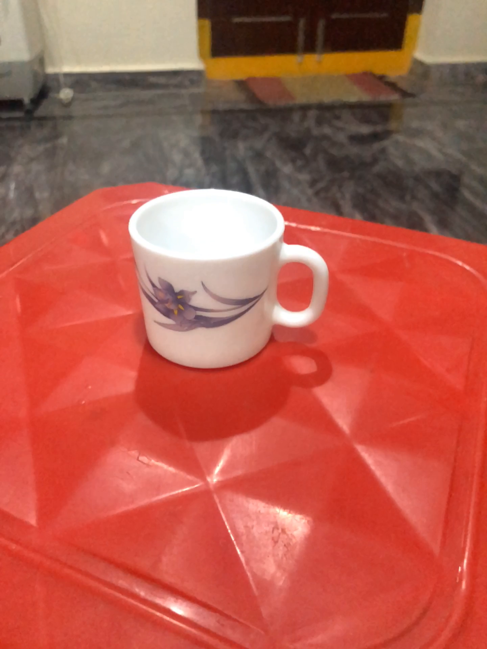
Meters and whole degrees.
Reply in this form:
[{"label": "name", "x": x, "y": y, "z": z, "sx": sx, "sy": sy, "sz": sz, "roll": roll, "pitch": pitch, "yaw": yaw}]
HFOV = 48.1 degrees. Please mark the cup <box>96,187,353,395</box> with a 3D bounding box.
[{"label": "cup", "x": -0.008, "y": -0.017, "z": 0.237, "sx": 0.090, "sy": 0.060, "sz": 0.070, "roll": -1, "pitch": 37, "yaw": -3}]
